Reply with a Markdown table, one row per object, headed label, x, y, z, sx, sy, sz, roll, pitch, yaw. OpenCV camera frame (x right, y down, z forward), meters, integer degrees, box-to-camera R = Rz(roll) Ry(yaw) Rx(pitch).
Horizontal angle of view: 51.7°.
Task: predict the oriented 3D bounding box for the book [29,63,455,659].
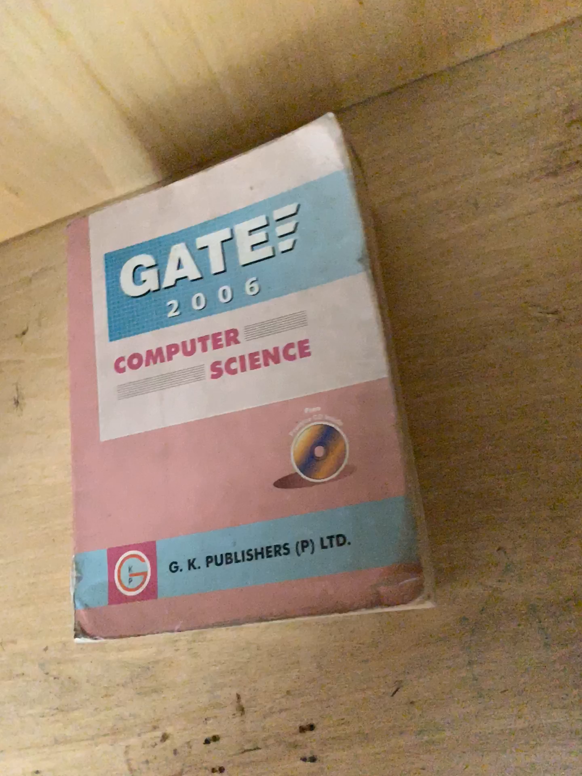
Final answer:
| label | x | y | z | sx | sy | sz | roll | pitch | yaw |
| --- | --- | --- | --- | --- | --- | --- | --- | --- | --- |
| book | -0.036 | -0.011 | 0.331 | 0.190 | 0.080 | 0.271 | -12 | 72 | 15 |
